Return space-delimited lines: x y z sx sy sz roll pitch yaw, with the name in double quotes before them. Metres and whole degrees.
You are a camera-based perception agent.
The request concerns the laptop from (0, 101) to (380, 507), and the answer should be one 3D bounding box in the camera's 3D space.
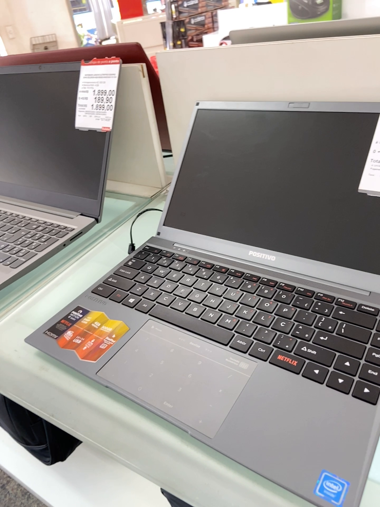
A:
"laptop" 0.053 -0.029 0.401 0.334 0.144 0.368 14 41 32
